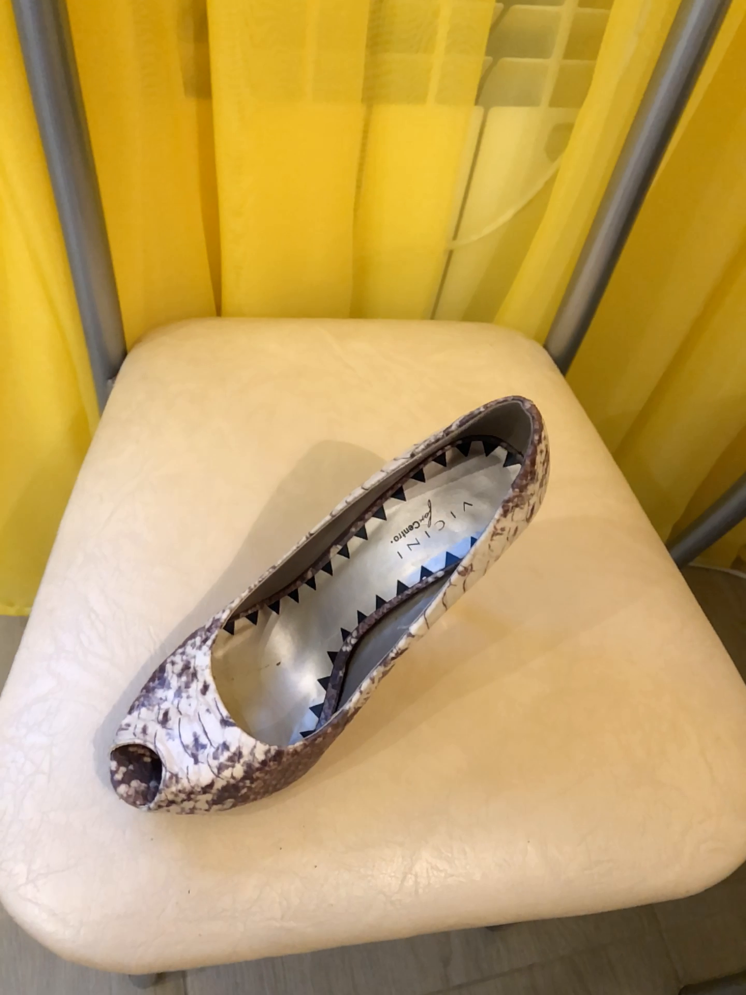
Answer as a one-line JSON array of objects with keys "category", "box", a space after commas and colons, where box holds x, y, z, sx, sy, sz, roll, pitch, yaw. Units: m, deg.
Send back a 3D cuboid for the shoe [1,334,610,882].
[{"category": "shoe", "box": [-0.021, 0.042, 0.333, 0.201, 0.129, 0.080, -31, 66, -28]}]
